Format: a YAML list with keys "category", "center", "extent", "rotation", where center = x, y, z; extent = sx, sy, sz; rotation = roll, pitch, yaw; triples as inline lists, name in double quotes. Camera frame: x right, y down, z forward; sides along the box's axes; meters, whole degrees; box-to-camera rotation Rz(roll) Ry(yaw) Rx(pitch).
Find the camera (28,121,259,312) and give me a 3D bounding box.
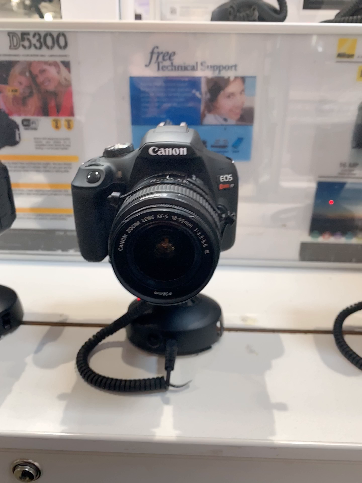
- category: "camera"
  center: [-0.021, -0.025, 0.271]
  extent: [0.122, 0.104, 0.110]
  rotation: [1, 22, -1]
